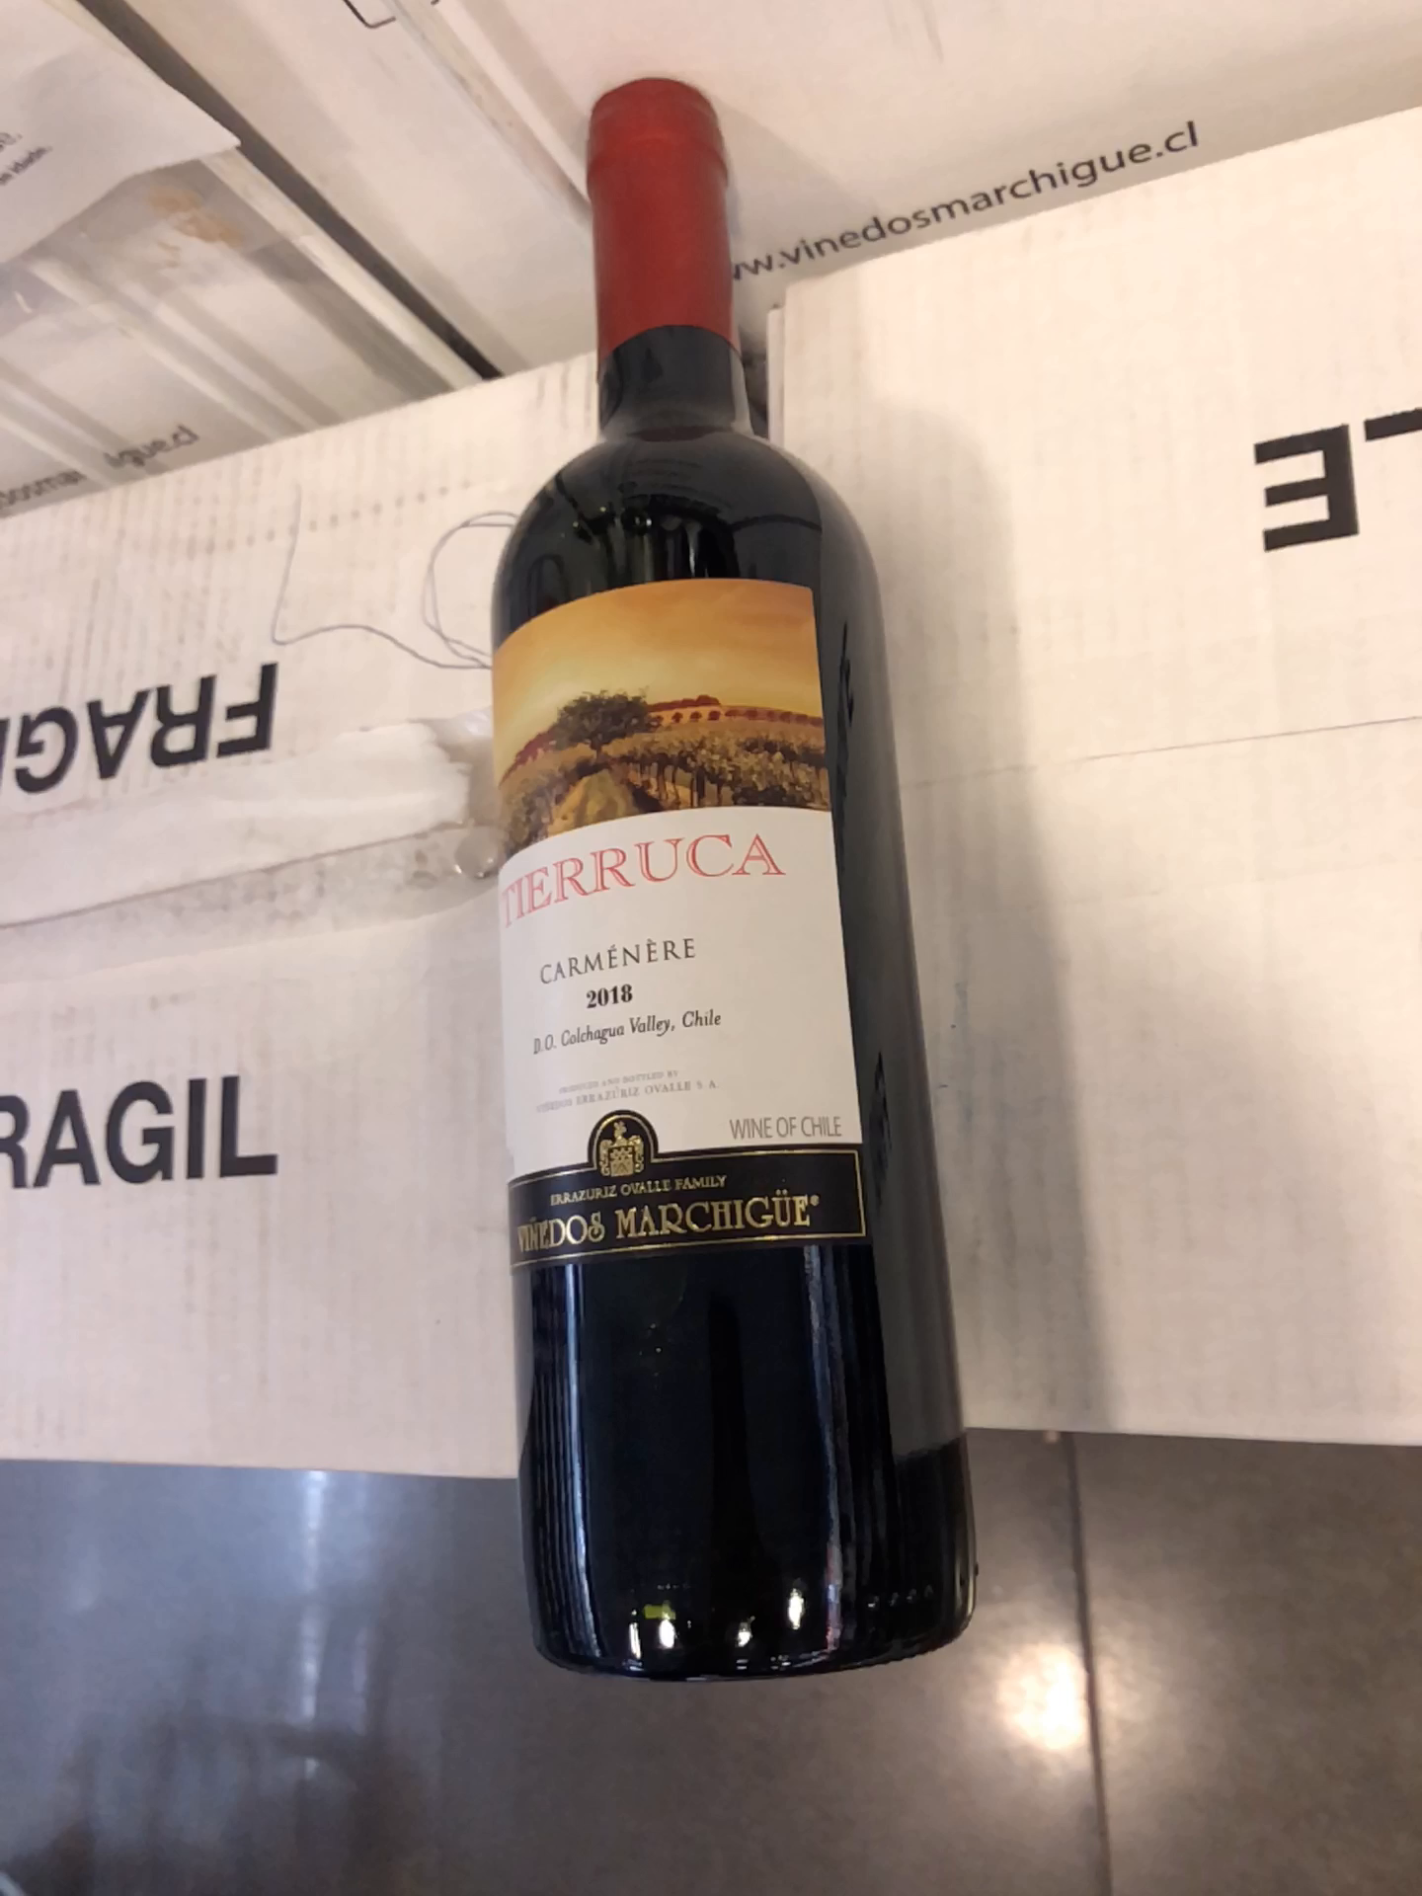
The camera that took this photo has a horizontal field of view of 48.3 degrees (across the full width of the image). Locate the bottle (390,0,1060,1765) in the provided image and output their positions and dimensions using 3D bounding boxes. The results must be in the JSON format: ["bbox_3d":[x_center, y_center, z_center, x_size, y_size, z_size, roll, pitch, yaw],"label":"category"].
[{"bbox_3d":[-0.001,-0.037,0.292,0.080,0.080,0.320,-9,76,23],"label":"bottle"}]
